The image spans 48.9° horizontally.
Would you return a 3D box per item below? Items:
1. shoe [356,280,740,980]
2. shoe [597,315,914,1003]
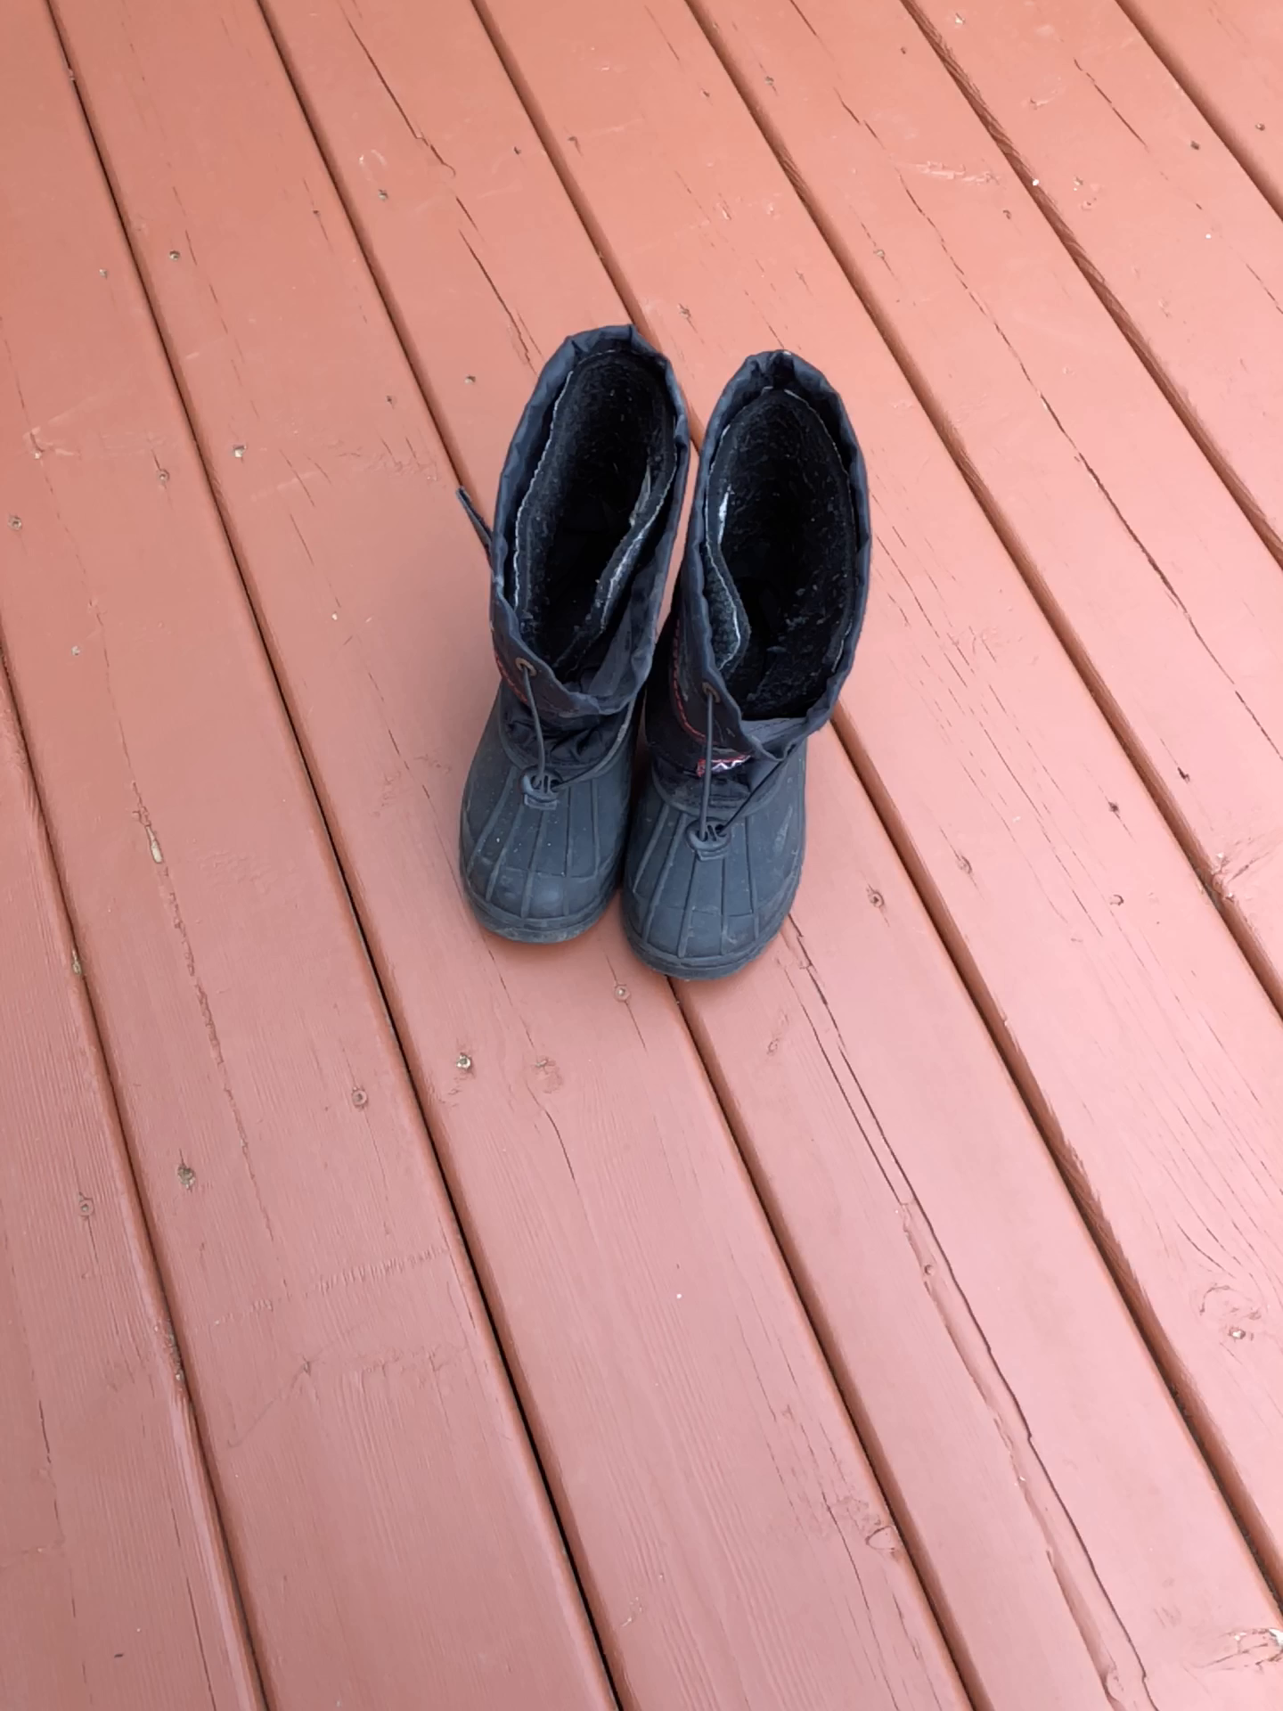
[{"bbox_3d":[-0.030,-0.086,0.638,0.100,0.230,0.210,11,68,5],"label":"shoe"},{"bbox_3d":[0.048,-0.073,0.635,0.100,0.230,0.210,6,68,3],"label":"shoe"}]
